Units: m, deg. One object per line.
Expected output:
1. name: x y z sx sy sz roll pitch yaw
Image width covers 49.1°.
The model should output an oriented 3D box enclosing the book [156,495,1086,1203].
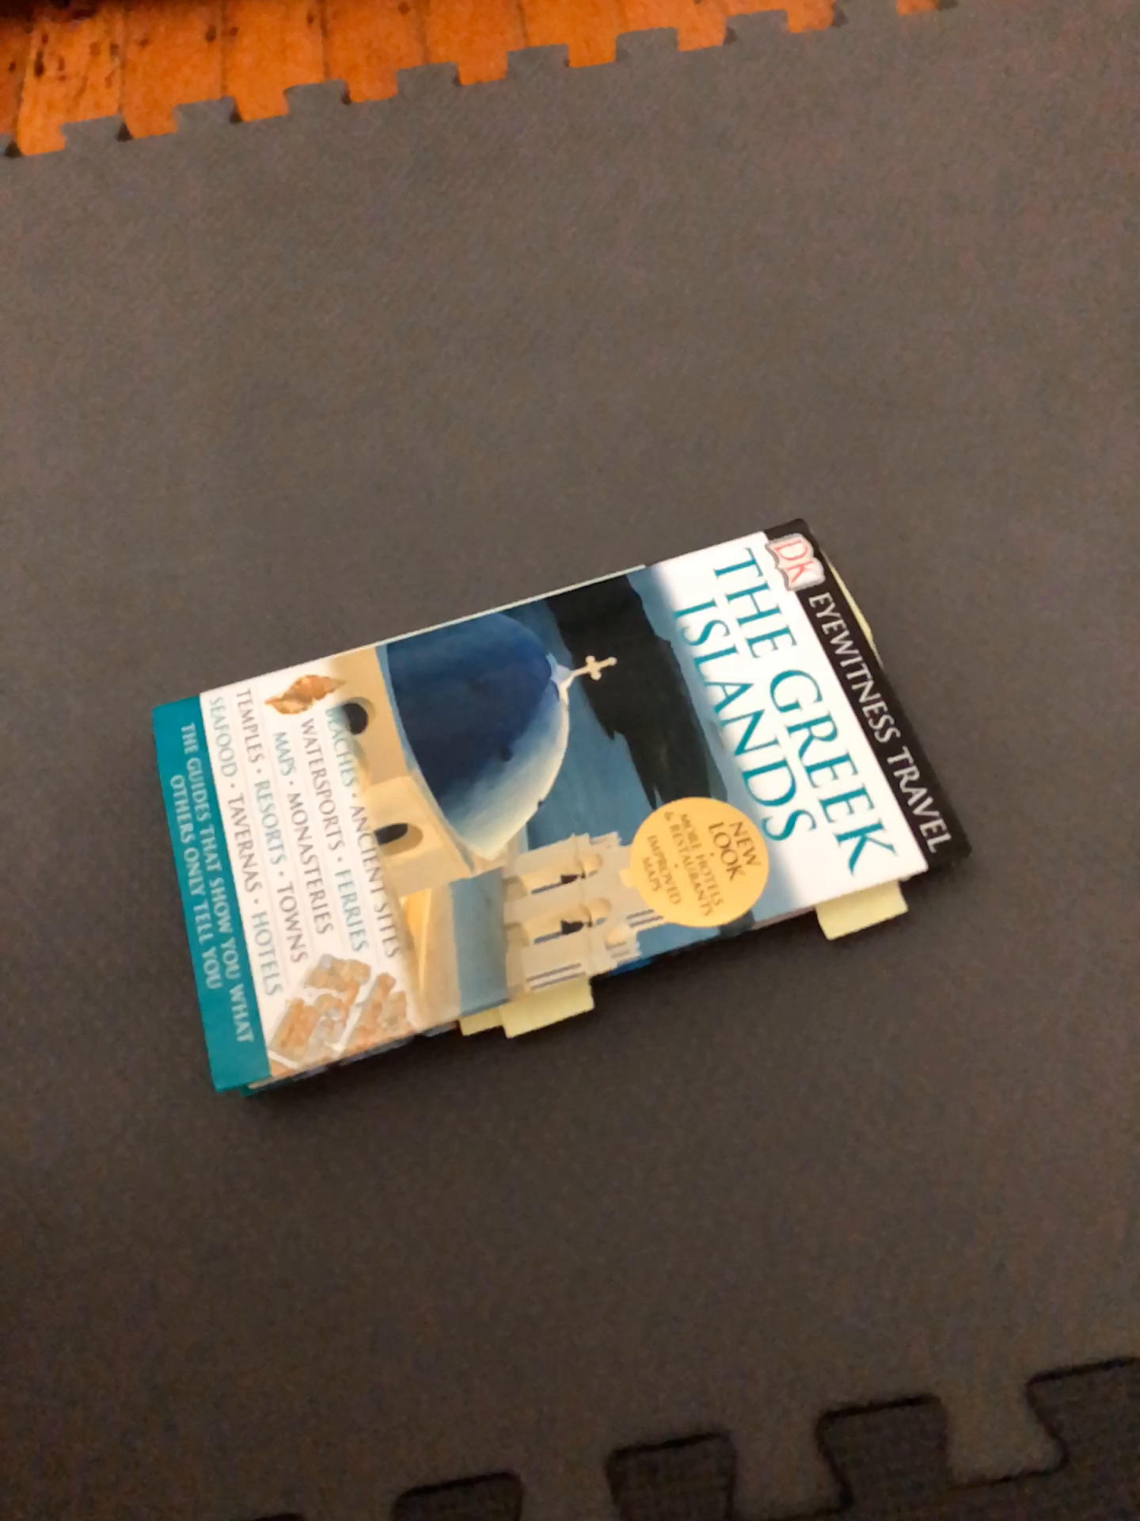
1. book: 0.005 0.017 0.385 0.240 0.030 0.161 -16 61 -5
